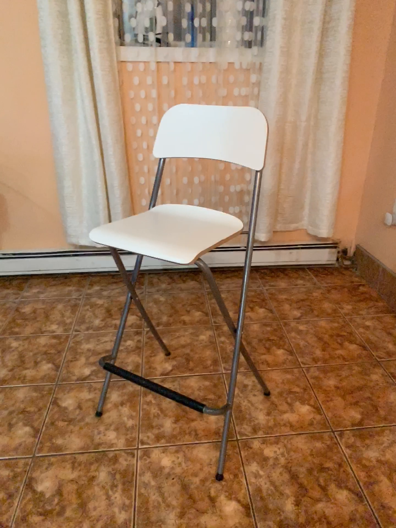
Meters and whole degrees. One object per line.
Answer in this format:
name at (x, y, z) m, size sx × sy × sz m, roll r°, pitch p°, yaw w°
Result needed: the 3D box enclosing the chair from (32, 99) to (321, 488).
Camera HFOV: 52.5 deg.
chair at (-0.038, 0.032, 1.308) m, size 0.599 × 1.007 × 0.545 m, roll 14°, pitch 27°, yaw 24°
